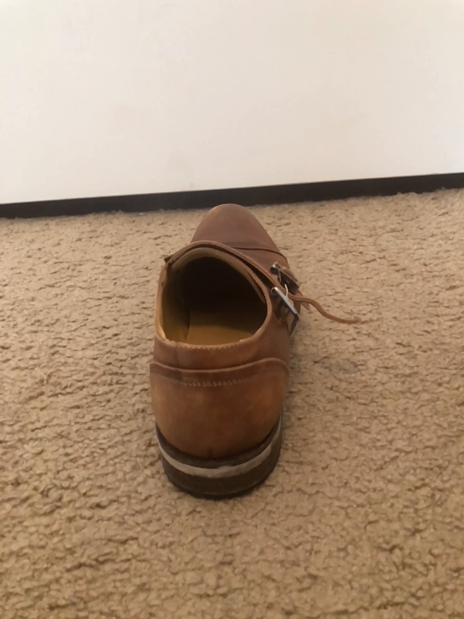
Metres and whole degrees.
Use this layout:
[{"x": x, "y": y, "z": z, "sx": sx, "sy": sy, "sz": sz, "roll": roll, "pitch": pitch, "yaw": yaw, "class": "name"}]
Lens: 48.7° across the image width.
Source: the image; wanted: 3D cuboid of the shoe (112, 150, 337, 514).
[{"x": 0.002, "y": -0.014, "z": 0.373, "sx": 0.099, "sy": 0.107, "sz": 0.287, "roll": -3, "pitch": 35, "yaw": 3, "class": "shoe"}]
